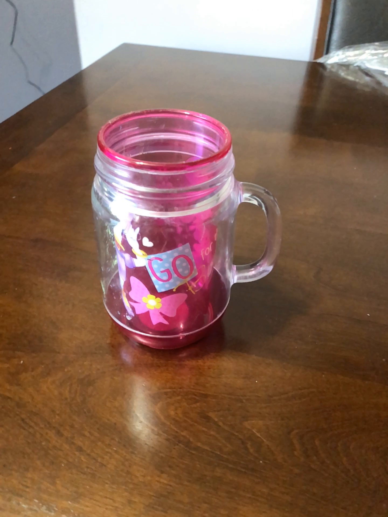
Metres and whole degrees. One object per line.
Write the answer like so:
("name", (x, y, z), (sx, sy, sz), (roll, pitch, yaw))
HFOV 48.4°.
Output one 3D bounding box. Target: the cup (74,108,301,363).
("cup", (-0.008, -0.013, 0.308), (0.120, 0.159, 0.080), (-3, 40, -6))
